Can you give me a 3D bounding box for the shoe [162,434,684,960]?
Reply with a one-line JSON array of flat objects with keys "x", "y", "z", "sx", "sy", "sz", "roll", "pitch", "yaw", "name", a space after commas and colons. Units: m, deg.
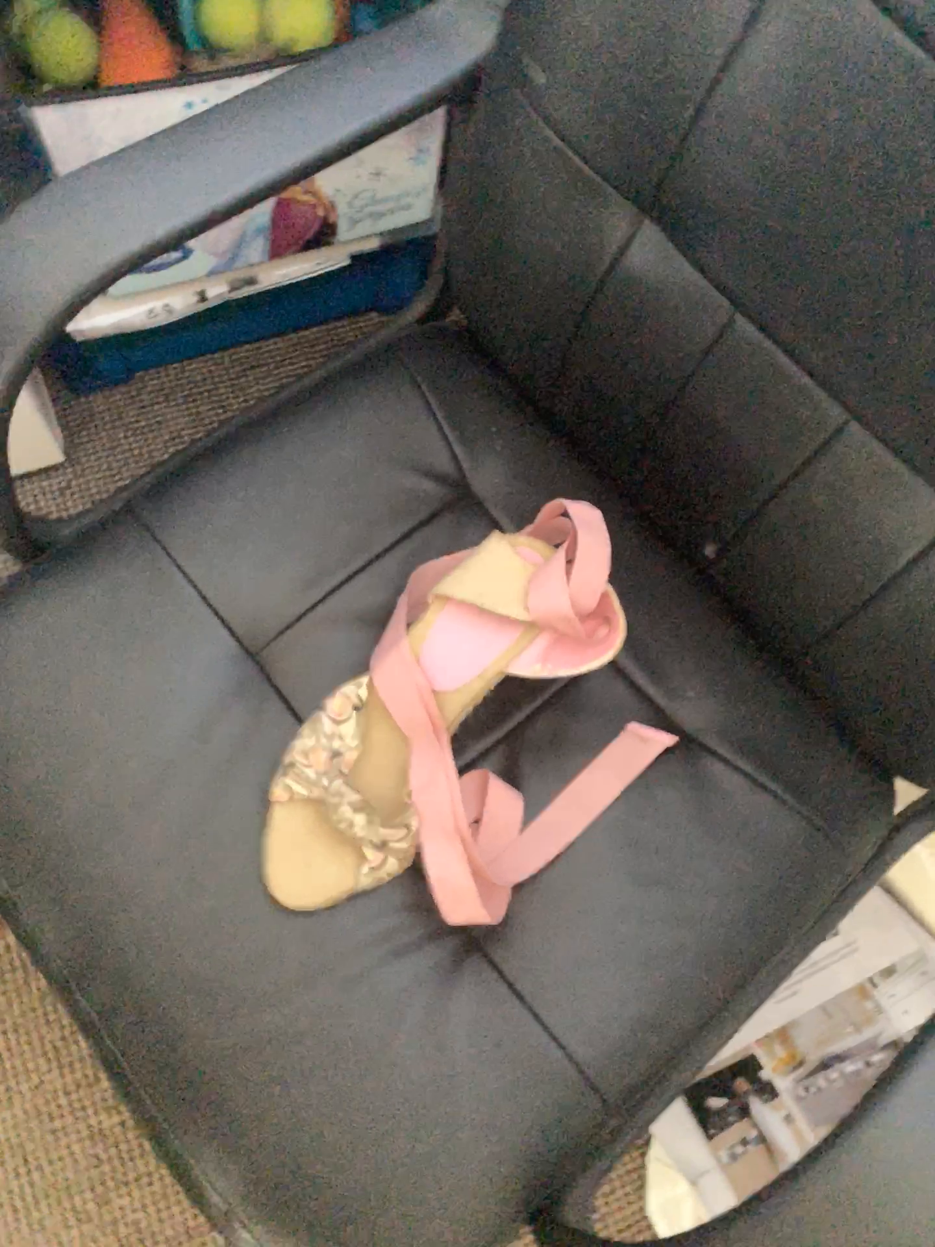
[{"x": -0.020, "y": 0.044, "z": 0.531, "sx": 0.100, "sy": 0.140, "sz": 0.271, "roll": 42, "pitch": 72, "yaw": 7, "name": "shoe"}]
